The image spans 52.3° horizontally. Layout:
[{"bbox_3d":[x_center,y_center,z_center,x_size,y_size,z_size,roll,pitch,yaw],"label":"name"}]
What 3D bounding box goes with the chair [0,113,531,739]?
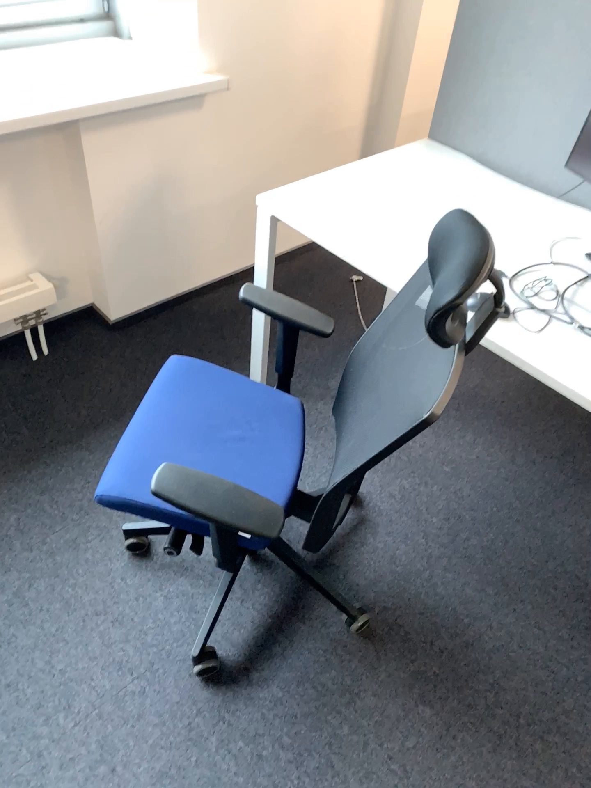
[{"bbox_3d":[-0.042,0.095,1.403,0.790,1.075,0.754,15,44,9],"label":"chair"}]
